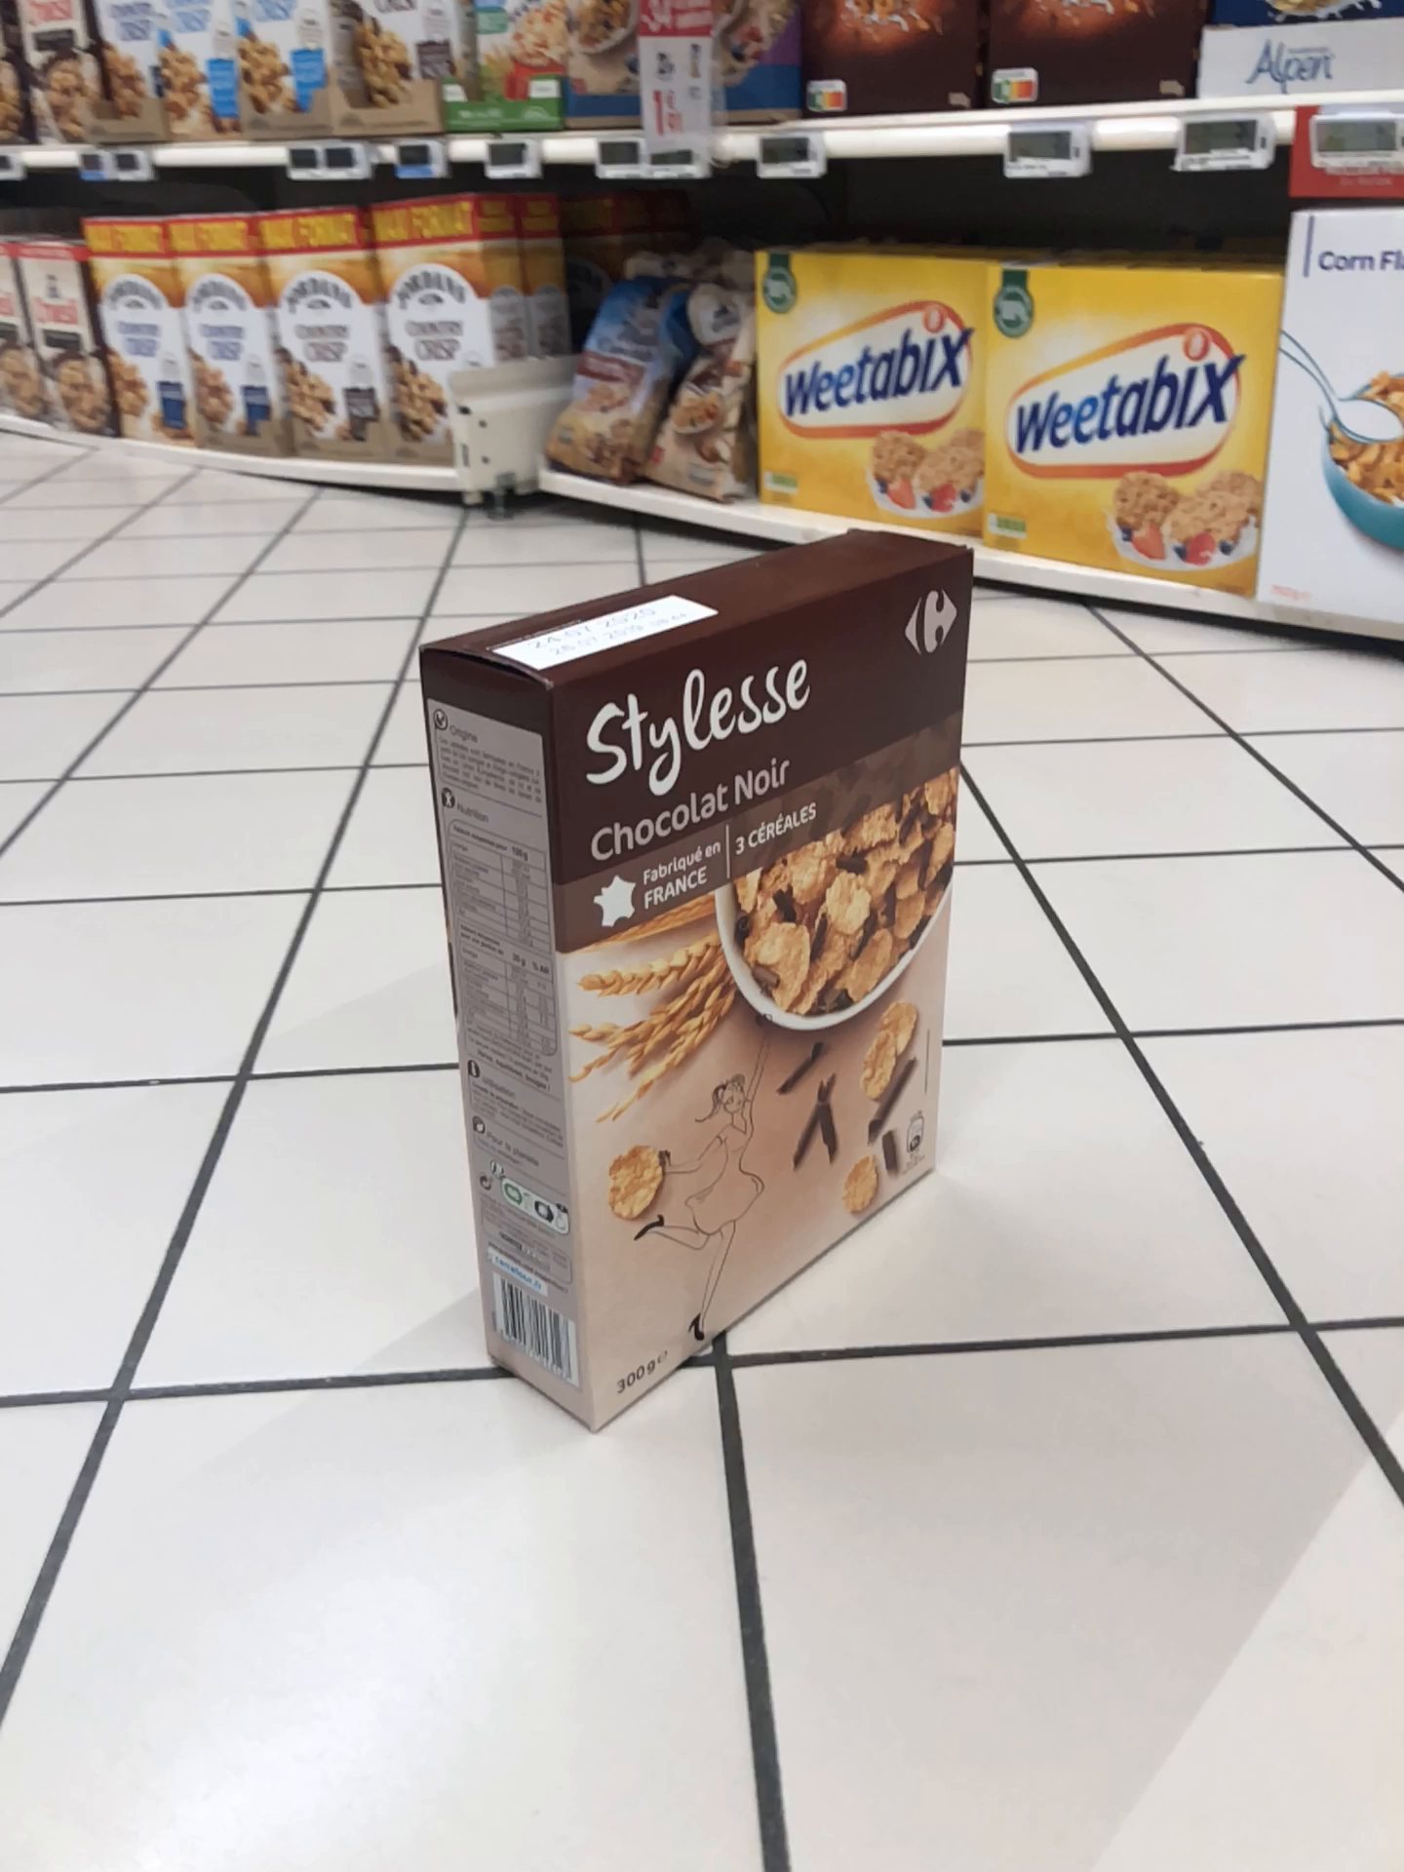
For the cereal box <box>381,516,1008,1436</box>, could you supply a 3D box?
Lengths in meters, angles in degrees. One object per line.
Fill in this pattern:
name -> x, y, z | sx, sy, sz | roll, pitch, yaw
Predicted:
cereal box -> 0.009, 0.002, 0.510 | 0.070, 0.239, 0.201 | 21, 33, 37
